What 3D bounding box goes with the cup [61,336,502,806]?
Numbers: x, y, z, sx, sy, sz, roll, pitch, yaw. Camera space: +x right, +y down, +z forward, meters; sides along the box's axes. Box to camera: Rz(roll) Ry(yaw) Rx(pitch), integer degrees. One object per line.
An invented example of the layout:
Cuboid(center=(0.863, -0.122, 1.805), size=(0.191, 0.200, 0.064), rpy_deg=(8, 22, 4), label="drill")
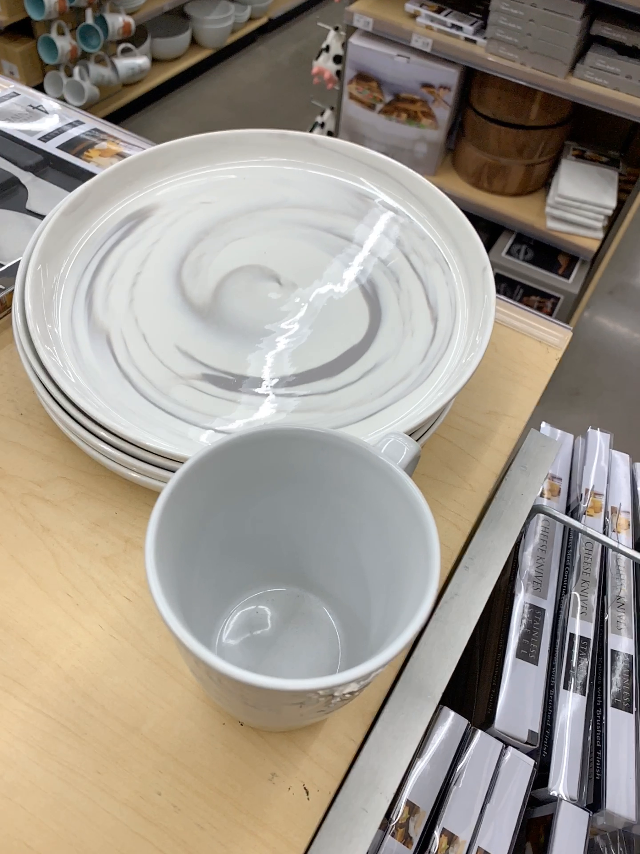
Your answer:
Cuboid(center=(-0.012, 0.058, 0.271), size=(0.099, 0.107, 0.125), rpy_deg=(31, 56, 15), label="cup")
